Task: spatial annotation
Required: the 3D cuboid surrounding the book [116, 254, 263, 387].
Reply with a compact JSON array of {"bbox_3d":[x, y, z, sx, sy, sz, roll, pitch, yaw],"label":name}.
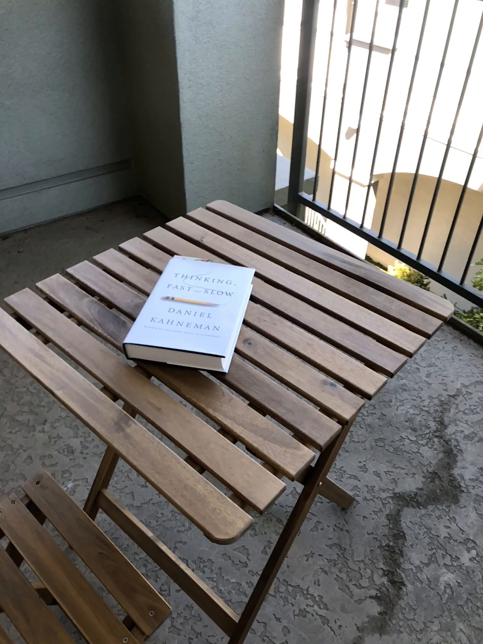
[{"bbox_3d":[-0.076,-0.014,0.906,0.180,0.050,0.261,8,41,8],"label":"book"}]
